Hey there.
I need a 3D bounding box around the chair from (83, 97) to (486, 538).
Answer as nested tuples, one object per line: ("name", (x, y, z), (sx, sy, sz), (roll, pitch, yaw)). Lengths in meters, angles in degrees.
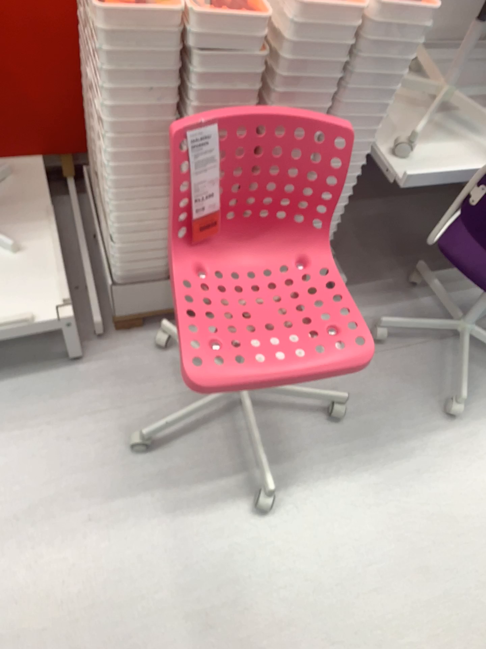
("chair", (0.039, -0.020, 1.188), (0.670, 0.688, 0.691), (-8, 55, -15))
